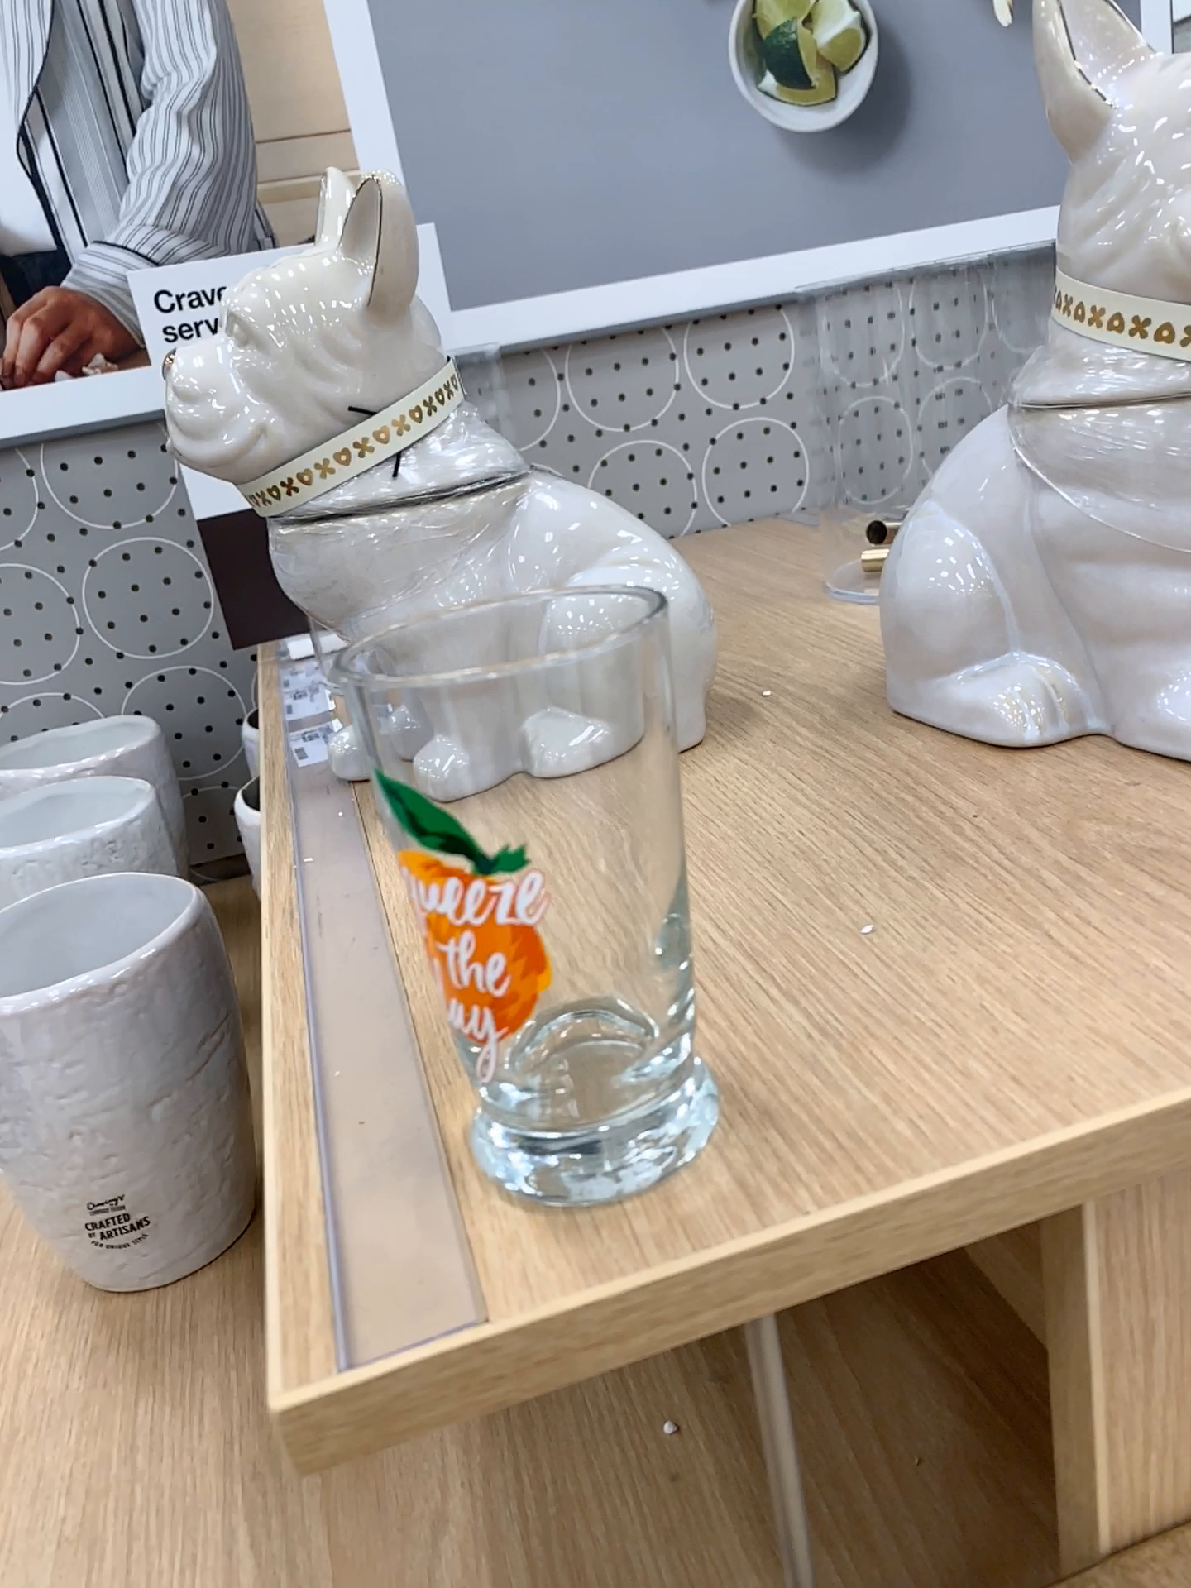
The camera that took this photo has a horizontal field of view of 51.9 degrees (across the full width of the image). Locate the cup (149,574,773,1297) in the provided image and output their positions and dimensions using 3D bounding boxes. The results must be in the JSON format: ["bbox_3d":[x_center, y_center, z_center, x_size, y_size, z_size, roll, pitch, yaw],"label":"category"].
[{"bbox_3d":[-0.023,0.022,0.266,0.080,0.119,0.080,-9,19,3],"label":"cup"}]
